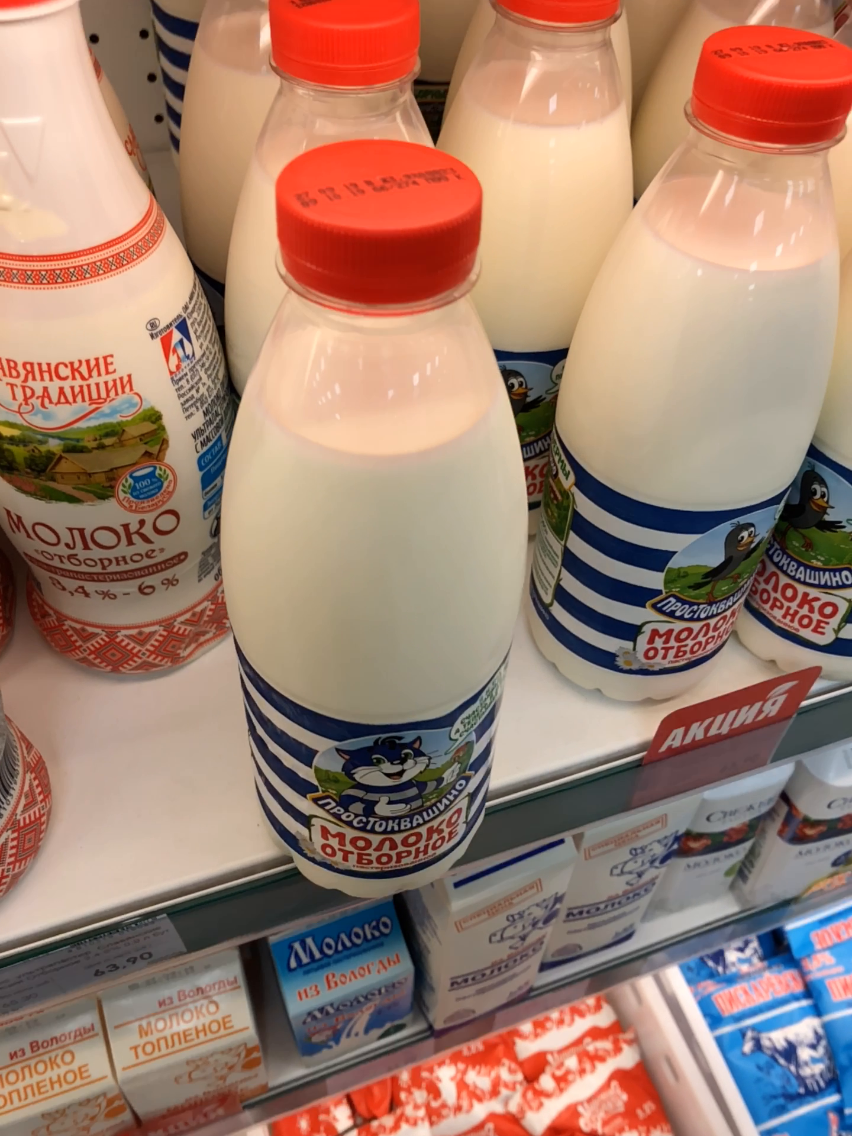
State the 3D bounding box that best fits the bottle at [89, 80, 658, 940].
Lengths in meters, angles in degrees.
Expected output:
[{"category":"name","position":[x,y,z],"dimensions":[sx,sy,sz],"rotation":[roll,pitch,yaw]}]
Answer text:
[{"category":"bottle","position":[-0.016,0.005,0.256],"dimensions":[0.090,0.228,0.080],"rotation":[-6,45,-8]}]
